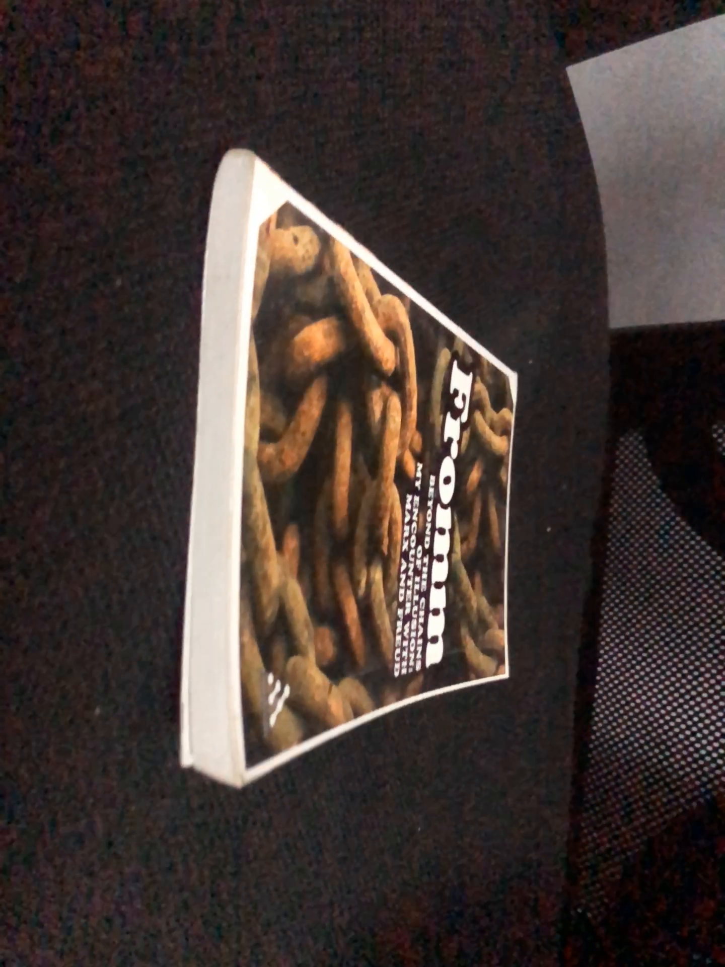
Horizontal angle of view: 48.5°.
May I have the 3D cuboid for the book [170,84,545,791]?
[{"bbox_3d":[0.019,0.000,0.248,0.196,0.016,0.144,16,73,-59],"label":"book"}]
